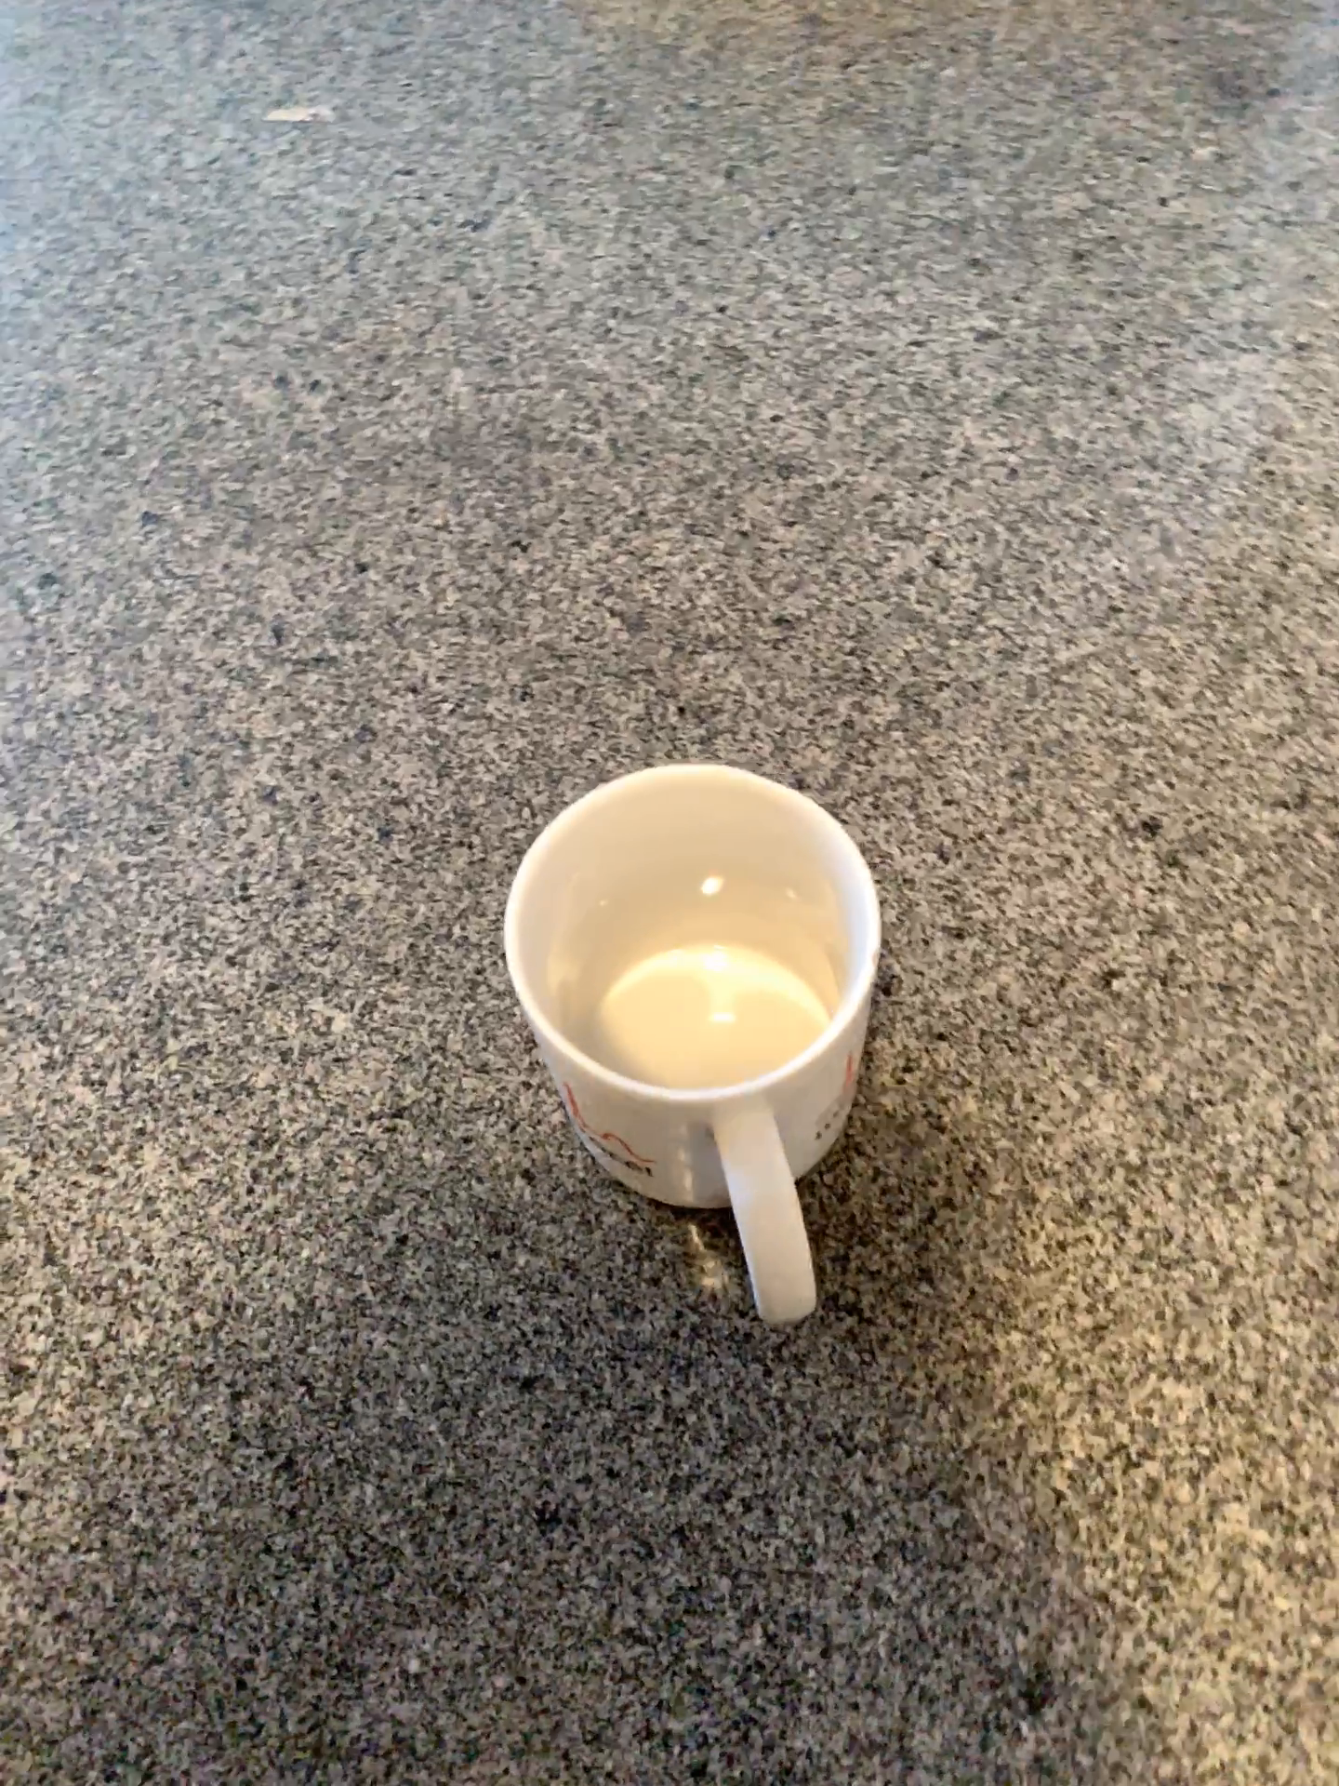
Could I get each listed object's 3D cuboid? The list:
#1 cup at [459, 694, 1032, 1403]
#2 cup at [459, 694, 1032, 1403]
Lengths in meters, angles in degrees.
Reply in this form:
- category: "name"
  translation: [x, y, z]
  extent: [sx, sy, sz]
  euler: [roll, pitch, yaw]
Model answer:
- category: "cup"
  translation: [0.013, 0.040, 0.322]
  extent: [0.090, 0.100, 0.120]
  euler: [-13, 62, -2]
- category: "cup"
  translation: [0.013, 0.040, 0.322]
  extent: [0.090, 0.100, 0.120]
  euler: [-13, 62, -2]
